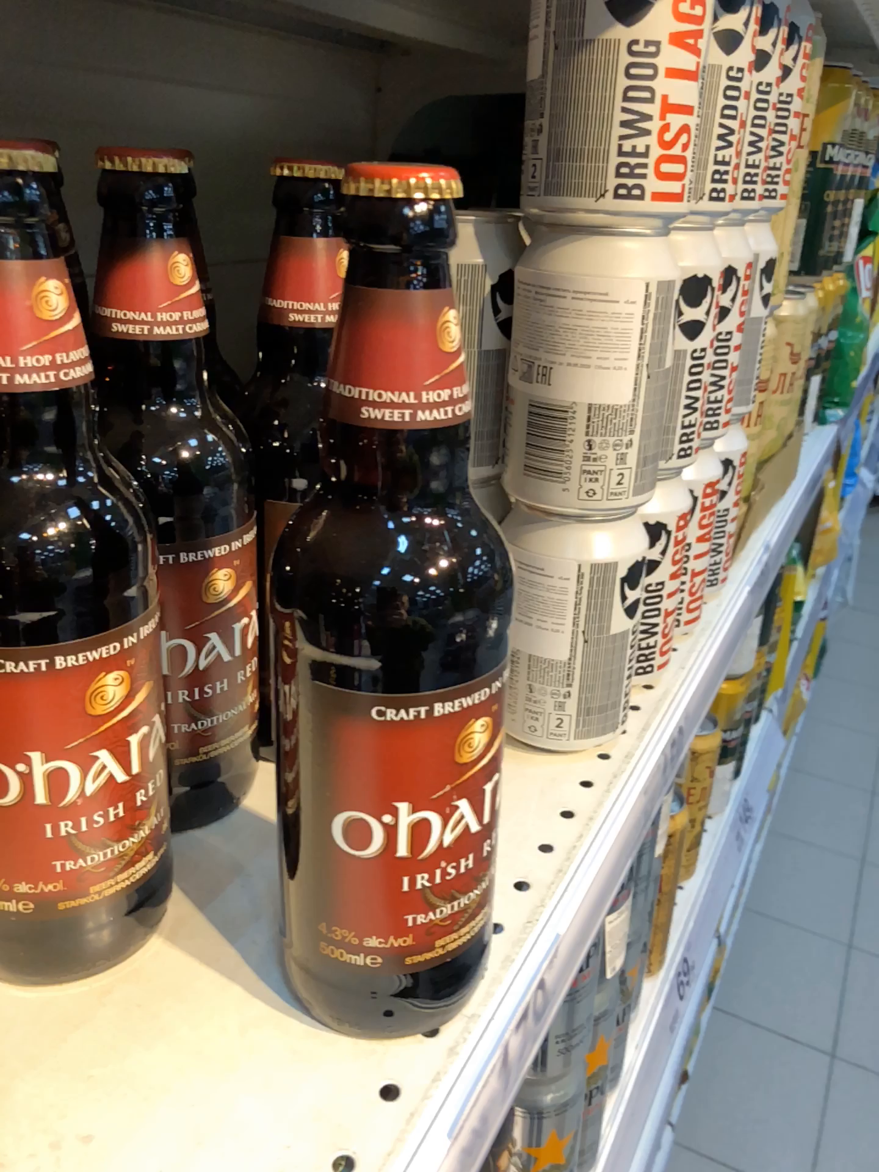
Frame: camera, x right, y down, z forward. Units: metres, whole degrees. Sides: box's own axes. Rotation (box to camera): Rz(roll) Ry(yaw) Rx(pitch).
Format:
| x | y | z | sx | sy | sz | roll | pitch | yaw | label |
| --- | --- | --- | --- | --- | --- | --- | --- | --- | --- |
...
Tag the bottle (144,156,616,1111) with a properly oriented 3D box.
| x | y | z | sx | sy | sz | roll | pitch | yaw | label |
| --- | --- | --- | --- | --- | --- | --- | --- | --- | --- |
| -0.021 | 0.014 | 0.281 | 0.080 | 0.246 | 0.080 | 3 | 23 | -1 | bottle |
